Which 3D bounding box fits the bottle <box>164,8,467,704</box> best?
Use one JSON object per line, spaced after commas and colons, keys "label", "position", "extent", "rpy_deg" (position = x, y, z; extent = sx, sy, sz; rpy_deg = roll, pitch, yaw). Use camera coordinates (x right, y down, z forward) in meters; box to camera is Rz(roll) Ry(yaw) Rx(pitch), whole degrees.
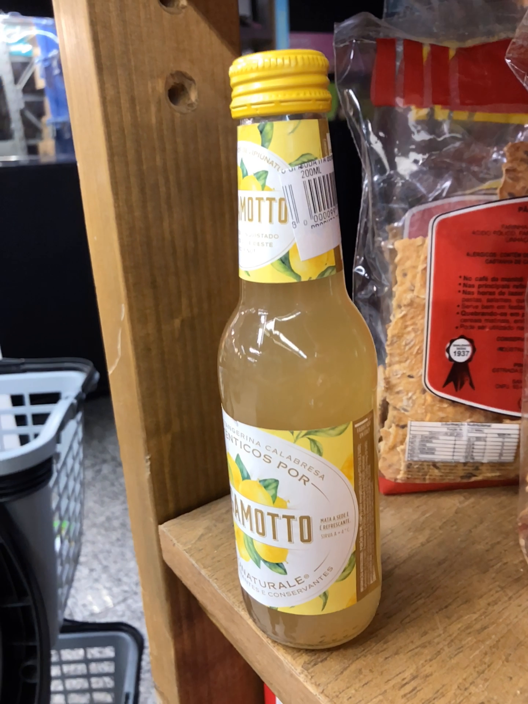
{"label": "bottle", "position": [0.018, 0.006, 0.198], "extent": [0.060, 0.199, 0.060], "rpy_deg": [-3, 19, 1]}
